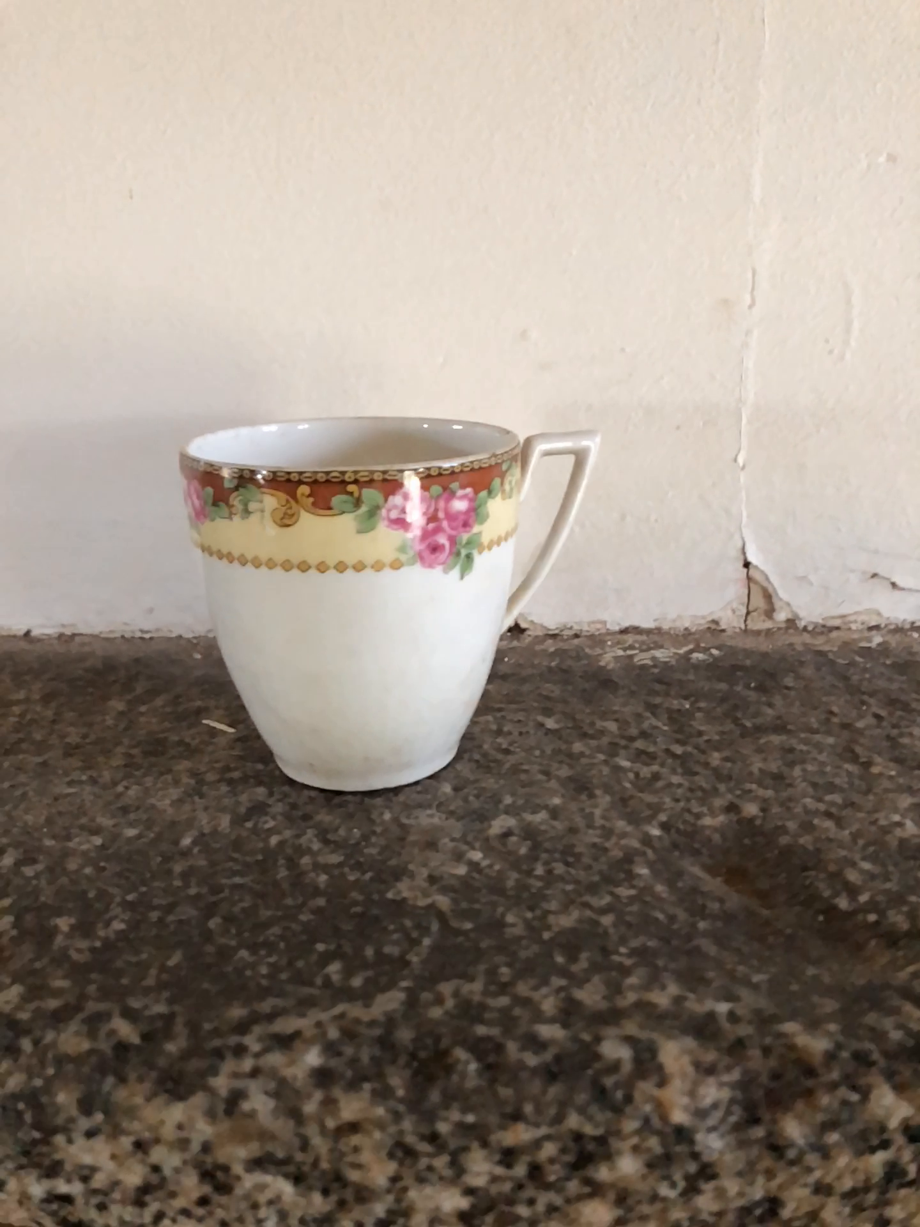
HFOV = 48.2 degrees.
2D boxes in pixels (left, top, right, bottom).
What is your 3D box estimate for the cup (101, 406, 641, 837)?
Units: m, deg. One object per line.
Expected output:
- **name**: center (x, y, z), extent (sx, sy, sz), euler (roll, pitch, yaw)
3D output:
- **cup**: center (-0.019, -0.005, 0.212), extent (0.090, 0.060, 0.070), euler (-6, 19, -11)
